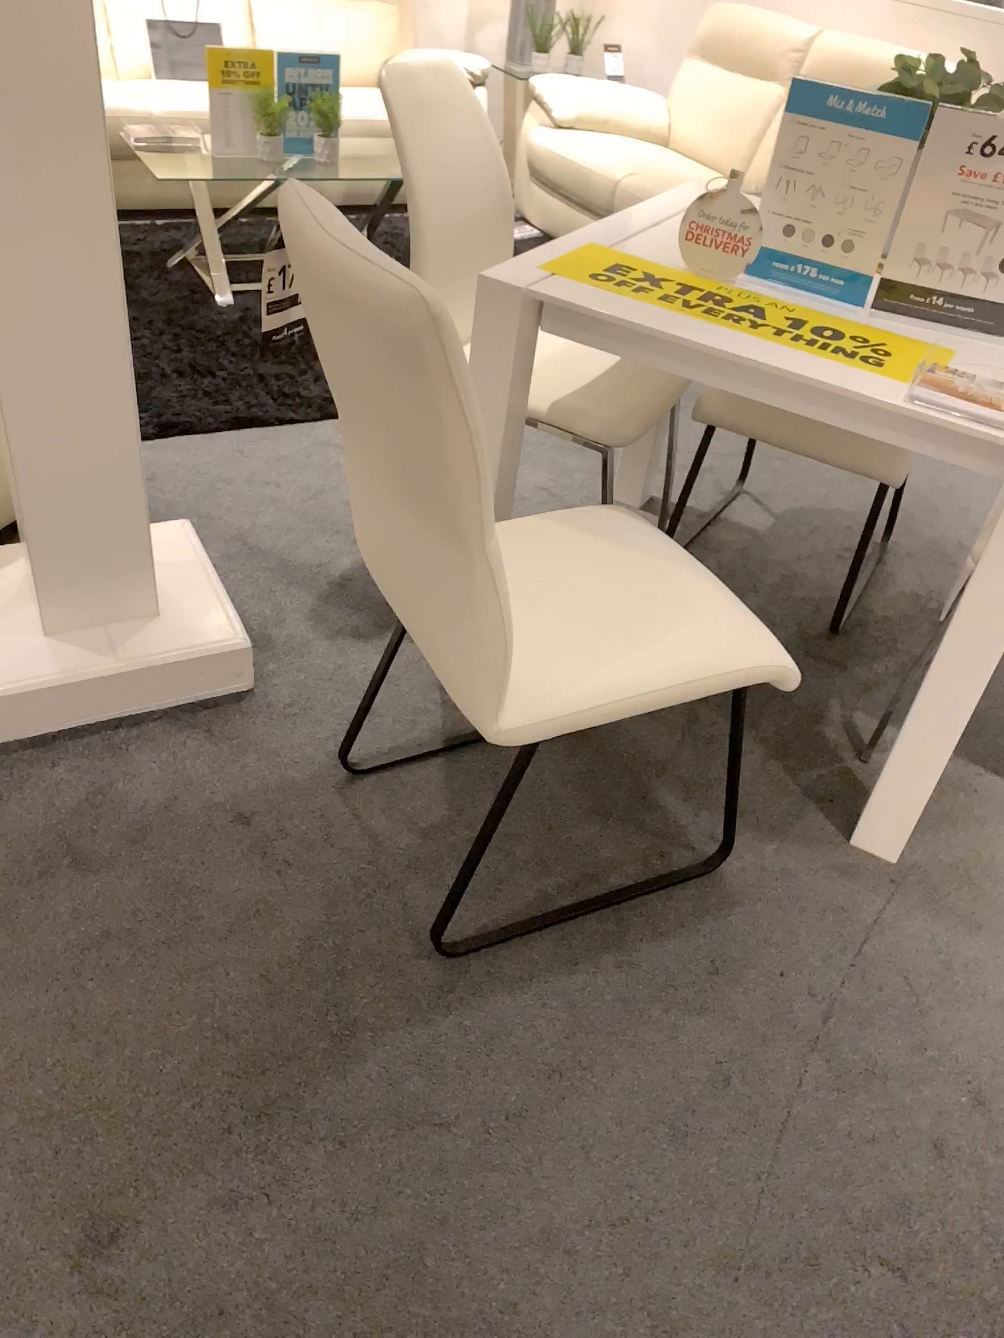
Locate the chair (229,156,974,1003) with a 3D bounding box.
[{"bbox_3d":[0.041,-0.139,1.385,0.632,0.891,0.544,-14,43,-26],"label":"chair"}]
